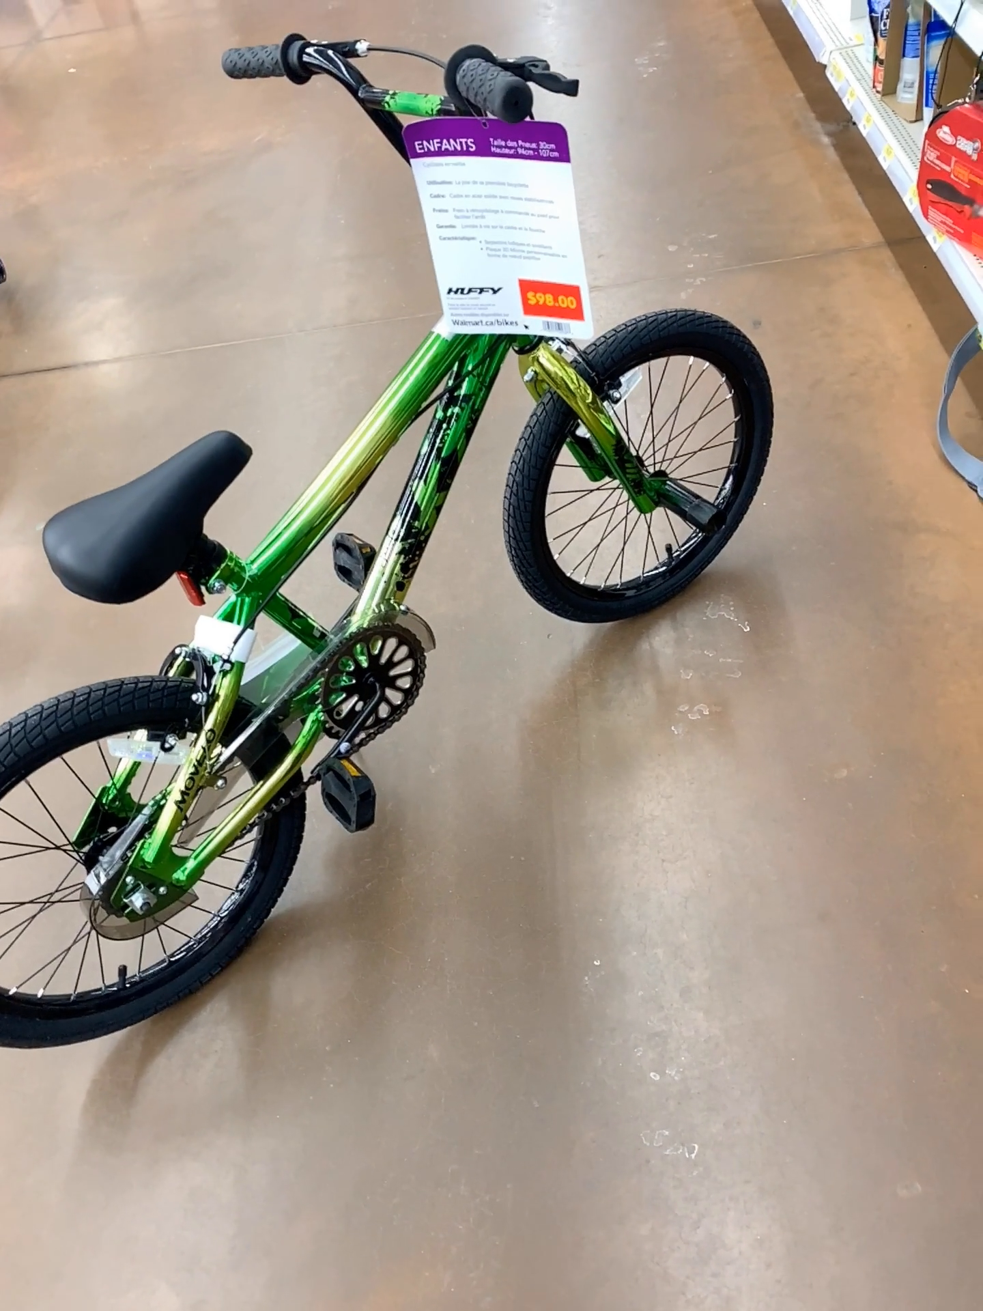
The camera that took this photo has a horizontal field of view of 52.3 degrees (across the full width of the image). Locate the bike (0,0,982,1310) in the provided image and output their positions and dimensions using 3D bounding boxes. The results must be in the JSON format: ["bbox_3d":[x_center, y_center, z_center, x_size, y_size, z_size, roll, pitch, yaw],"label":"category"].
[{"bbox_3d":[-0.042,-0.169,1.102,1.407,1.034,0.720,-39,51,-15],"label":"bike"}]
